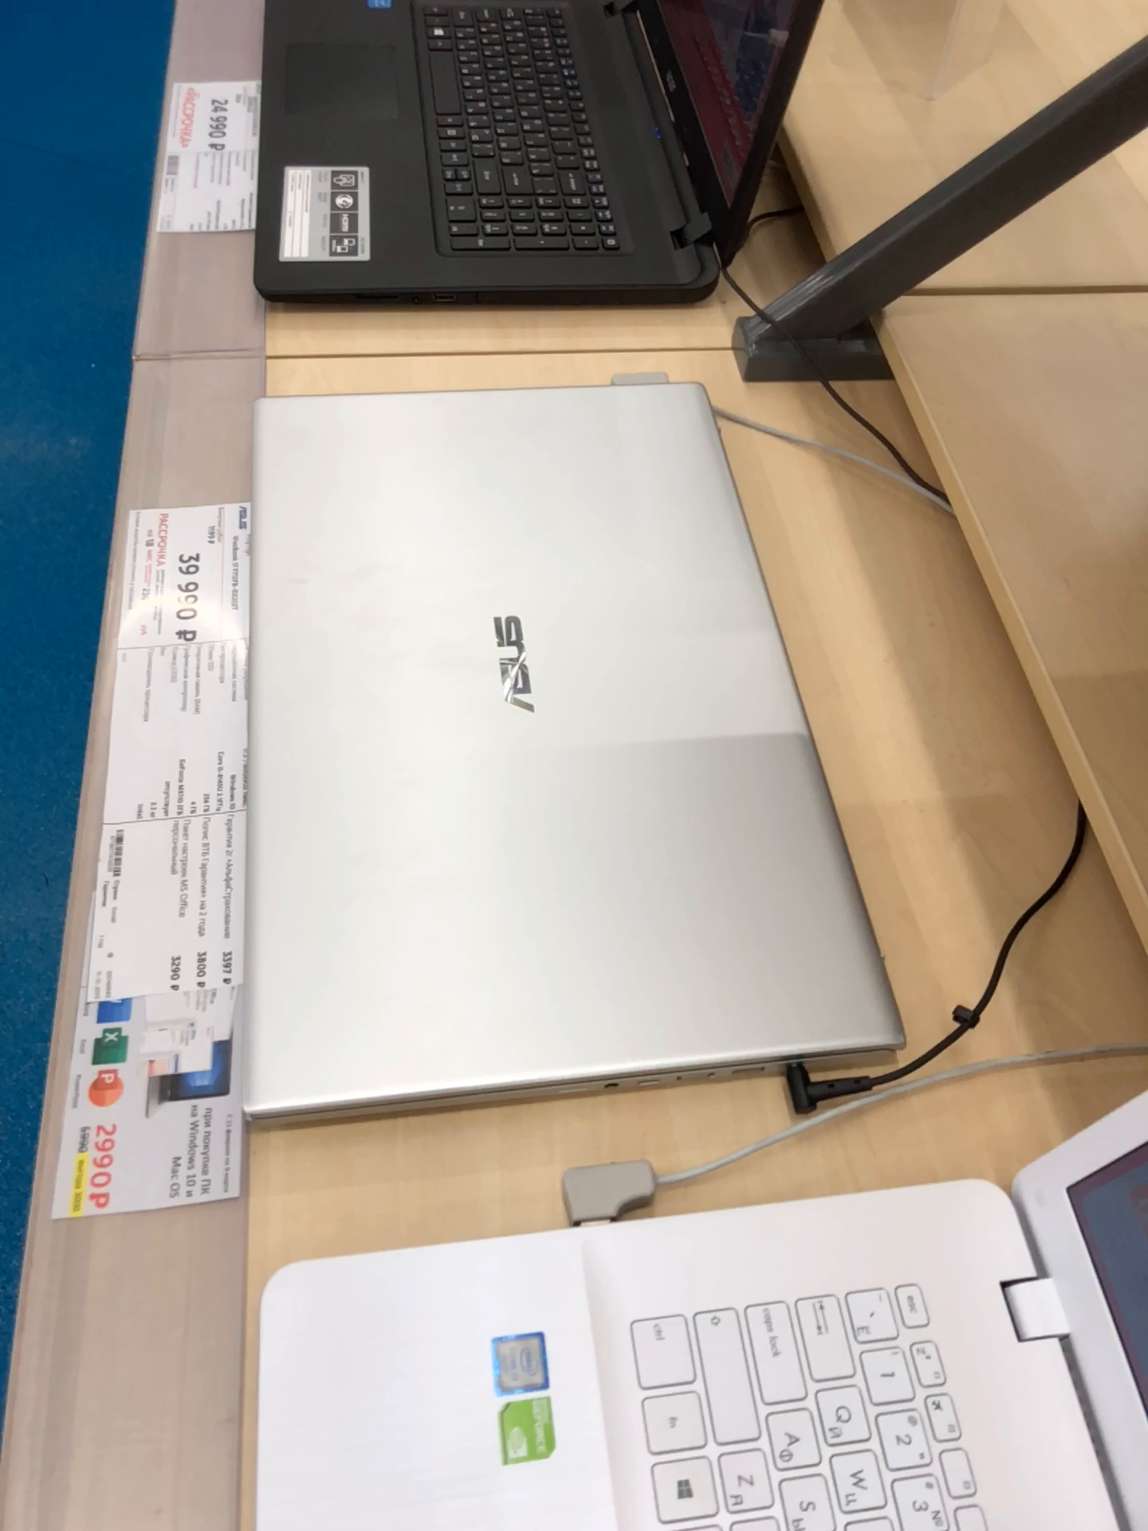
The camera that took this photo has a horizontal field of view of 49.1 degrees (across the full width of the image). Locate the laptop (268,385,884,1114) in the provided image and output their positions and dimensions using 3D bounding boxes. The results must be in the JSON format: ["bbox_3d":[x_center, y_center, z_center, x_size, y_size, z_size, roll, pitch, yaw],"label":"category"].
[{"bbox_3d":[-0.022,-0.043,0.585,0.232,0.006,0.393,-5,55,-6],"label":"laptop"}]
